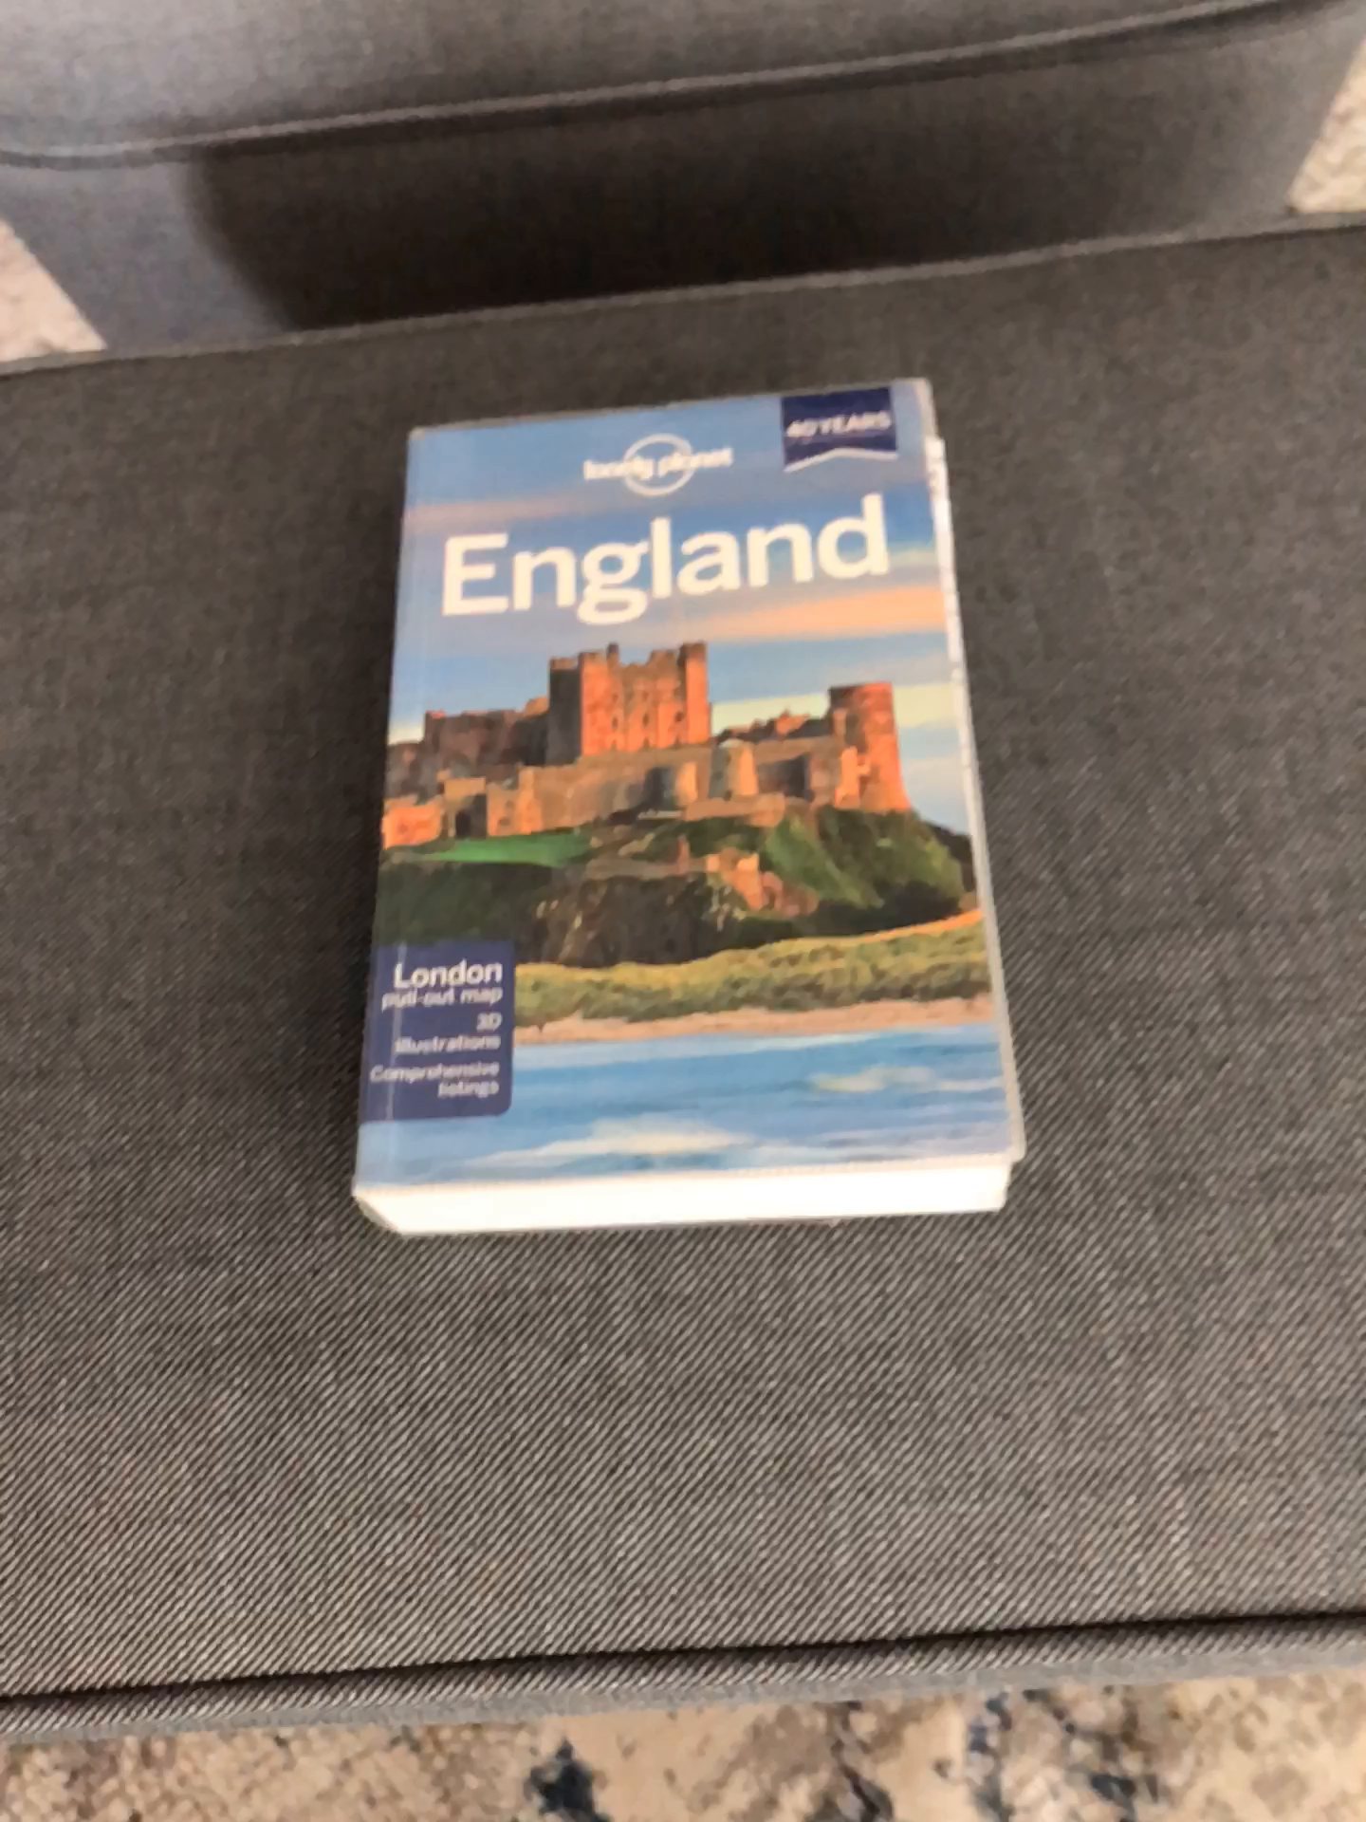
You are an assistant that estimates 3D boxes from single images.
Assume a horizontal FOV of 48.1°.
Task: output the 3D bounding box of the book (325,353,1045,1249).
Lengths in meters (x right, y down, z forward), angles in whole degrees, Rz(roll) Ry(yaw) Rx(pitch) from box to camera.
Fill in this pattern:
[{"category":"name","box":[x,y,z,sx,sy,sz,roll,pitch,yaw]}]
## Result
[{"category":"book","box":[0.000,-0.031,0.348,0.135,0.040,0.200,-5,63,7]}]
